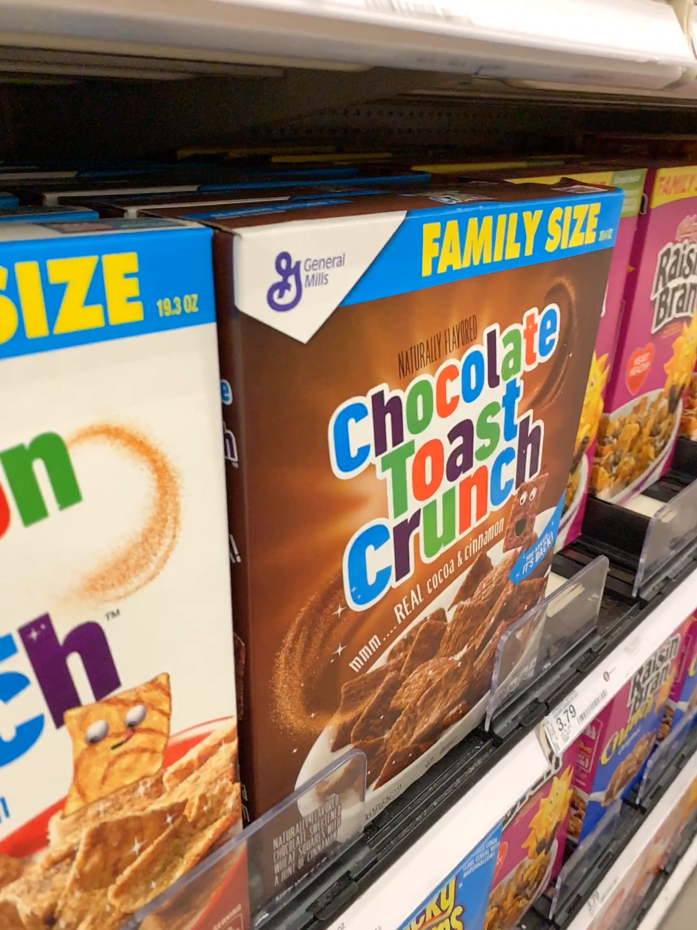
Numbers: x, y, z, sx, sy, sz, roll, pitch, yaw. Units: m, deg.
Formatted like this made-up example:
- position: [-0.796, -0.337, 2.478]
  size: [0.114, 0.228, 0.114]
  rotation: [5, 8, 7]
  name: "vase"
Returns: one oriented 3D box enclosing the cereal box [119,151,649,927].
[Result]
- position: [0.031, 0.021, 0.347]
  size: [0.060, 0.308, 0.241]
  rotation: [25, 34, 38]
  name: "cereal box"
